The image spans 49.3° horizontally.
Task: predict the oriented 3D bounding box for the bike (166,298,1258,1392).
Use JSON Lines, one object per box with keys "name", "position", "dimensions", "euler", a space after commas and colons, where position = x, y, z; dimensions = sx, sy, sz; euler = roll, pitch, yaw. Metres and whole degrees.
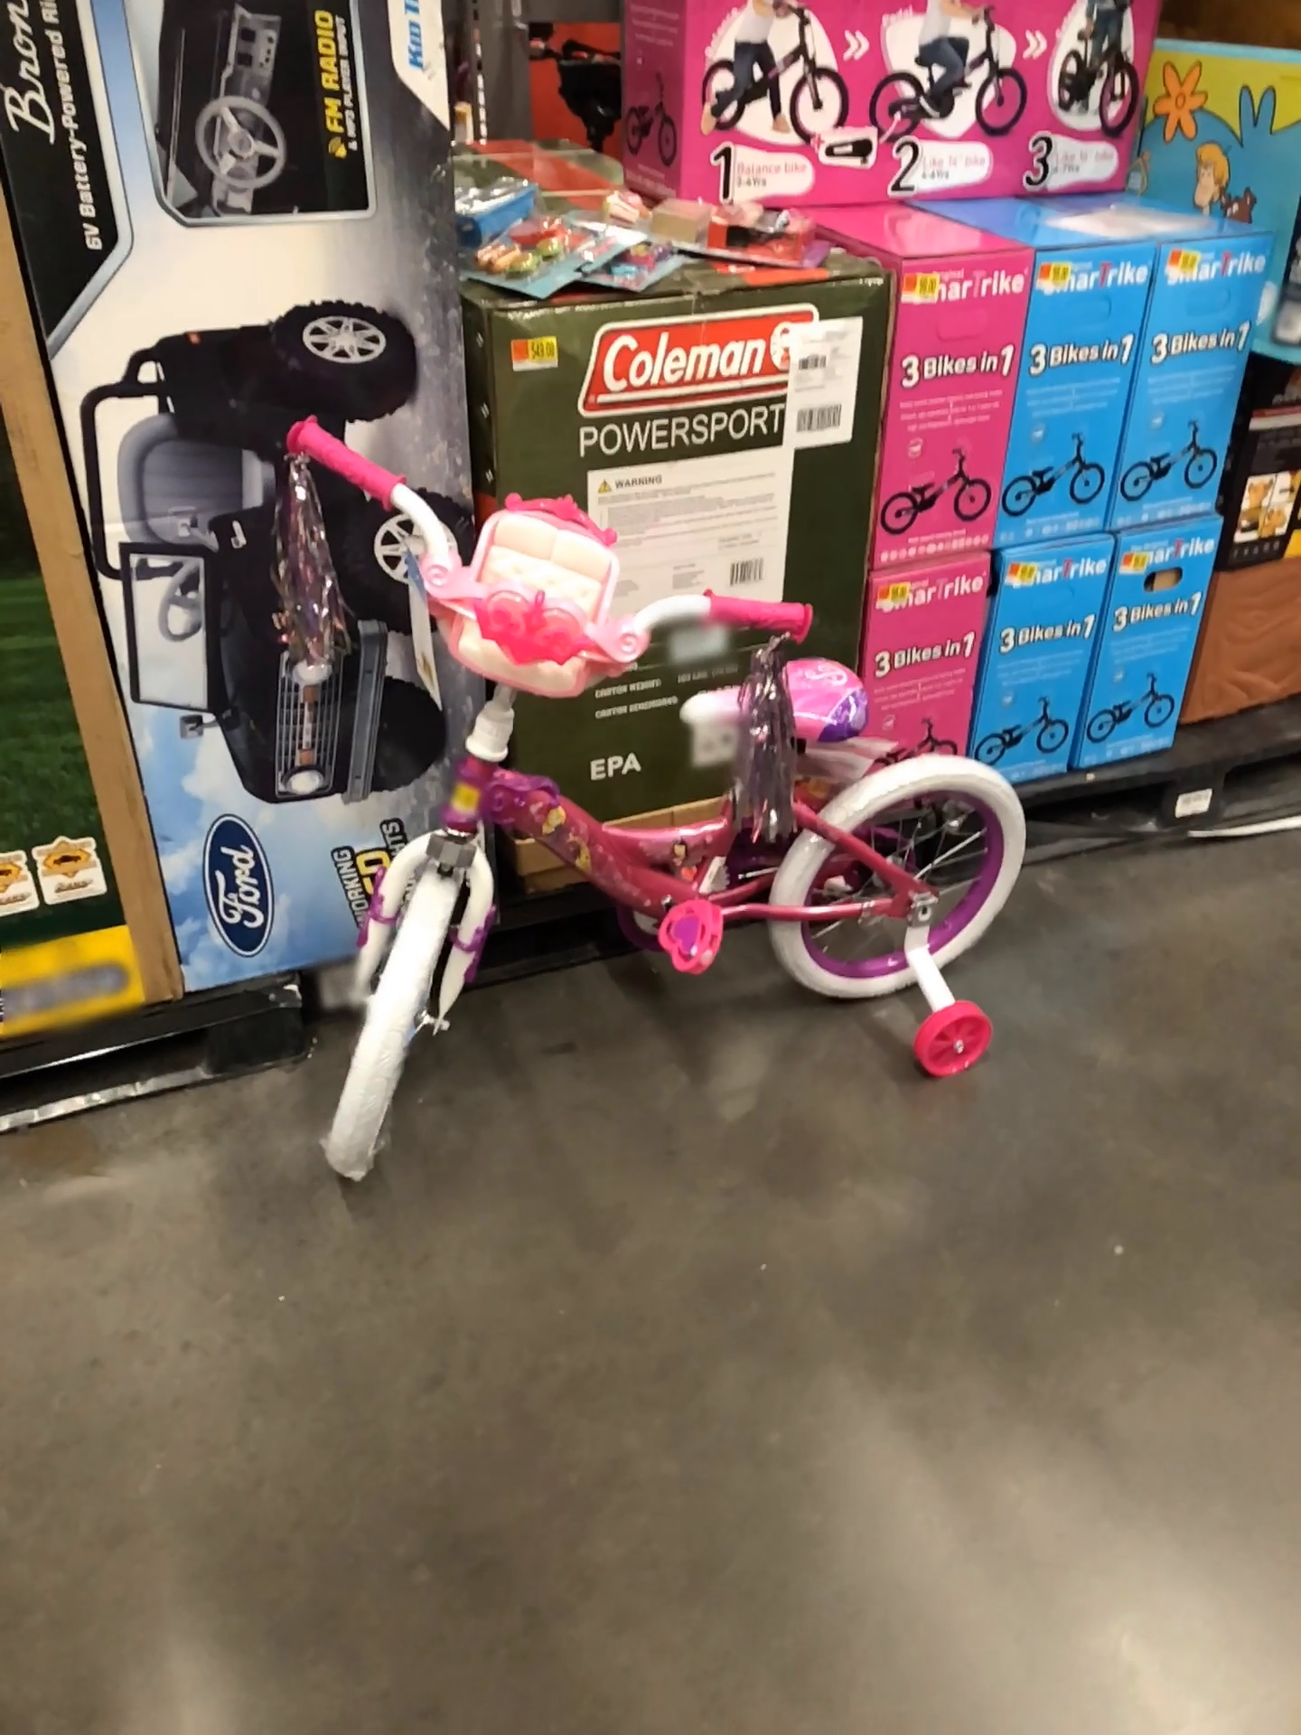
{"name": "bike", "position": [0.076, -0.080, 1.604], "dimensions": [0.950, 0.854, 0.479], "euler": [-21, 39, -27]}
